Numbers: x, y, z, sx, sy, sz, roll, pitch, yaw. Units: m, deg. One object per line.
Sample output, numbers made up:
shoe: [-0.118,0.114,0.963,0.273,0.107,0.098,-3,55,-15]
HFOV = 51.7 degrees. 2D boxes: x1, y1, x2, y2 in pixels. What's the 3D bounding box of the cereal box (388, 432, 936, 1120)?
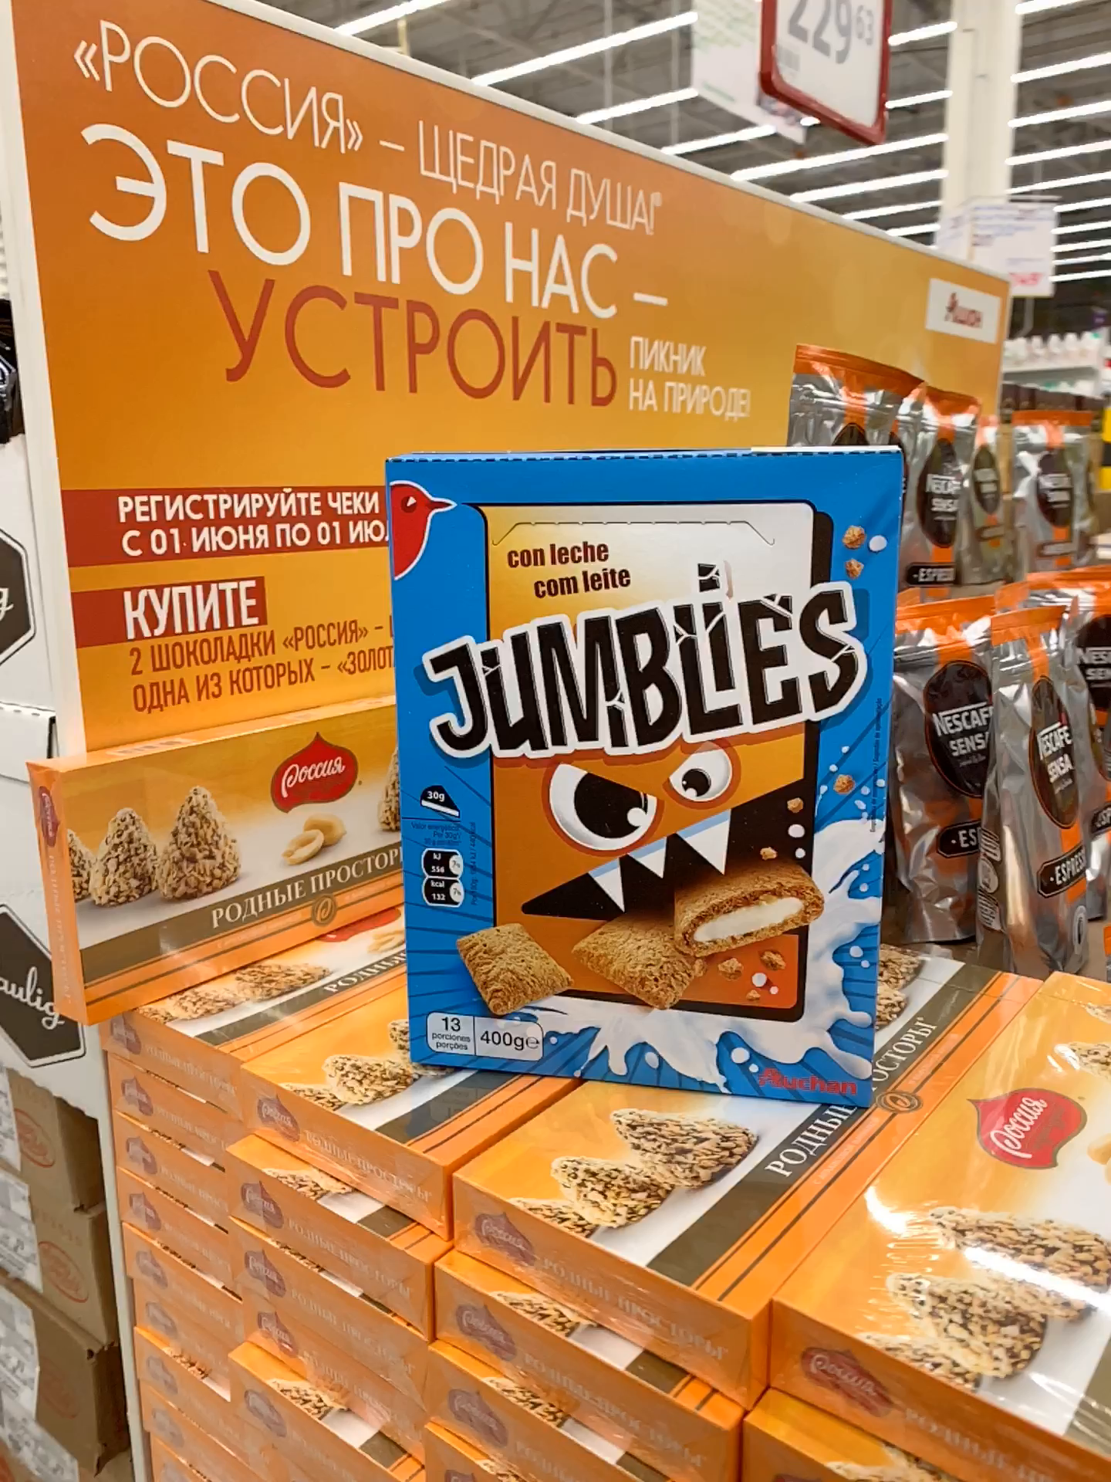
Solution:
cereal box: [0.042,0.011,0.471,0.200,0.259,0.060,2,12,13]
